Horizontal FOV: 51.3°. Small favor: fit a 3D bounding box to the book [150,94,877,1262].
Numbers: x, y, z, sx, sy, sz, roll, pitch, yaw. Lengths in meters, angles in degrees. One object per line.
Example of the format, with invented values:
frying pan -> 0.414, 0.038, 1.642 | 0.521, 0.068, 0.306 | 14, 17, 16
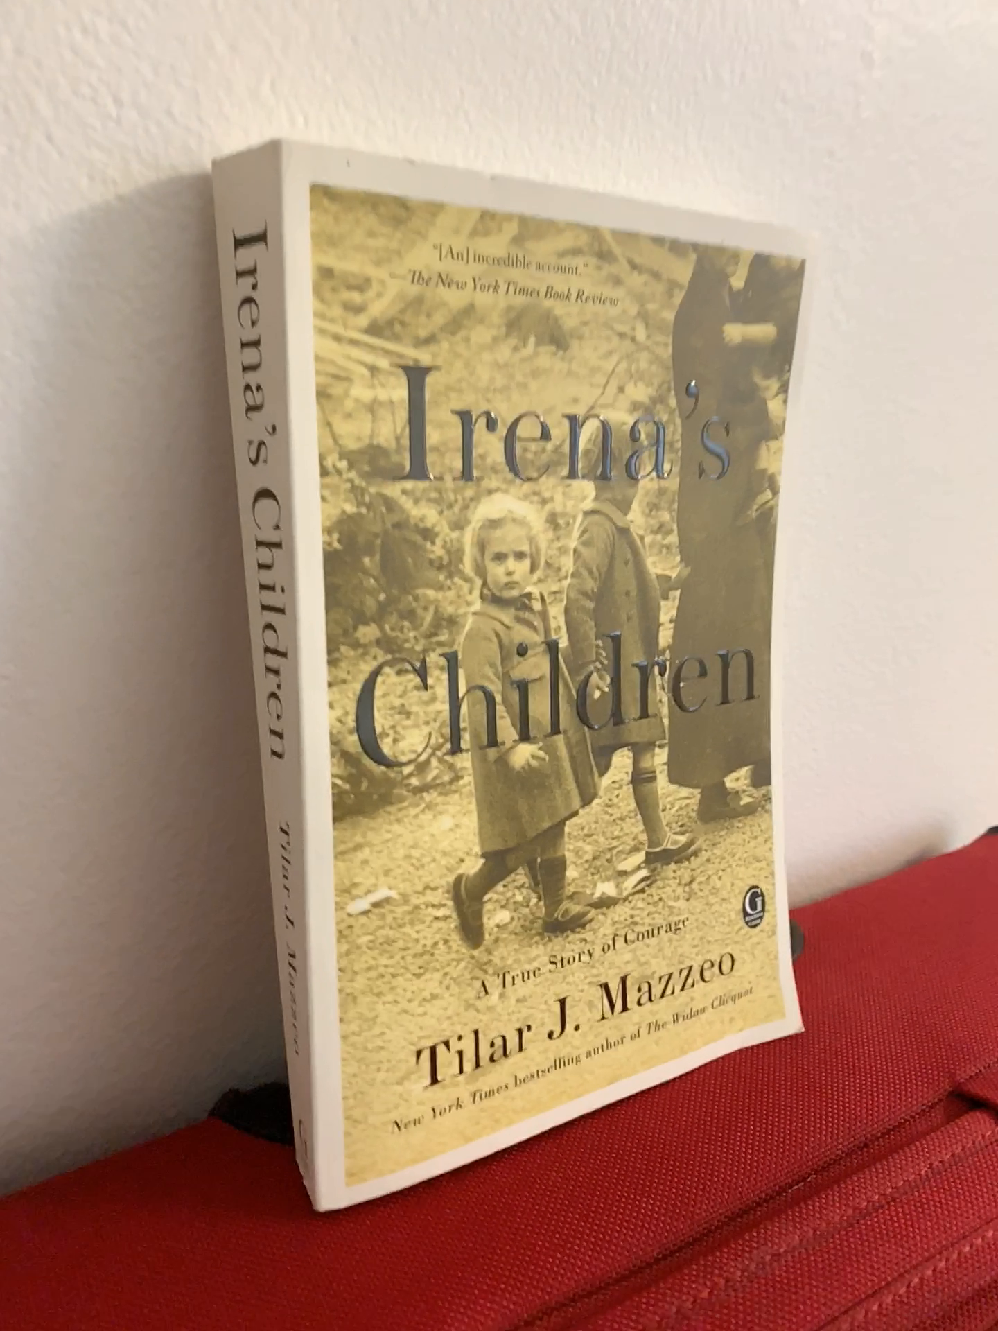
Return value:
book -> 0.016, 0.002, 0.253 | 0.170, 0.229, 0.030 | -8, 13, -29
